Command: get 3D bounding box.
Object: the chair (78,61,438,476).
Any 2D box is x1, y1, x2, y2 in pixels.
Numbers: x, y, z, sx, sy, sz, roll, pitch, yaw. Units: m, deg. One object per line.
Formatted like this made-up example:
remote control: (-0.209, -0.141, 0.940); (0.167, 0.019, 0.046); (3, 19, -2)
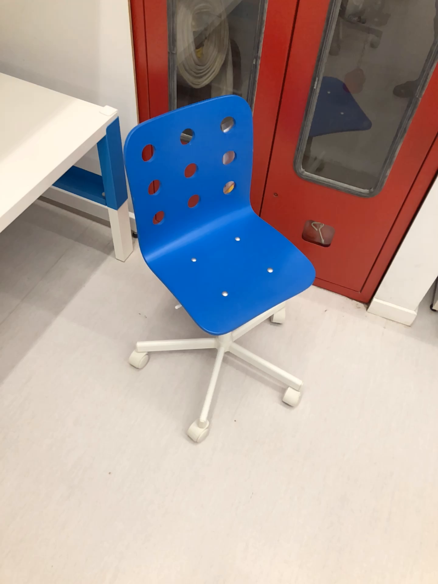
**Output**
chair: (0.088, -0.038, 1.145); (0.551, 0.686, 0.492); (-29, 59, -24)
